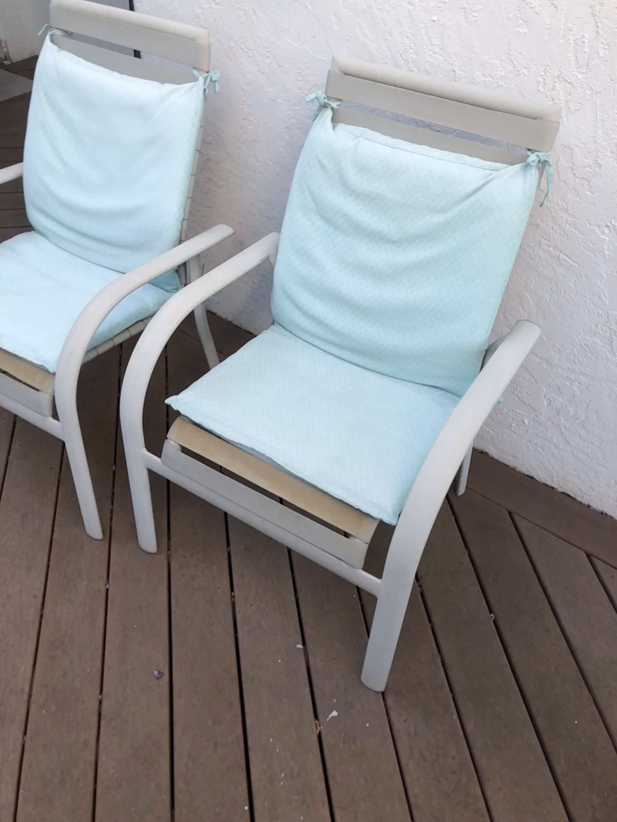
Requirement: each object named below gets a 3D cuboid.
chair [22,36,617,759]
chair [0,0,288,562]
[{"bbox_3d":[0.118,-0.020,1.624,0.841,1.273,0.874,25,49,22],"label":"chair"},{"bbox_3d":[-0.559,-0.350,1.629,0.701,0.965,0.783,25,49,22],"label":"chair"}]
